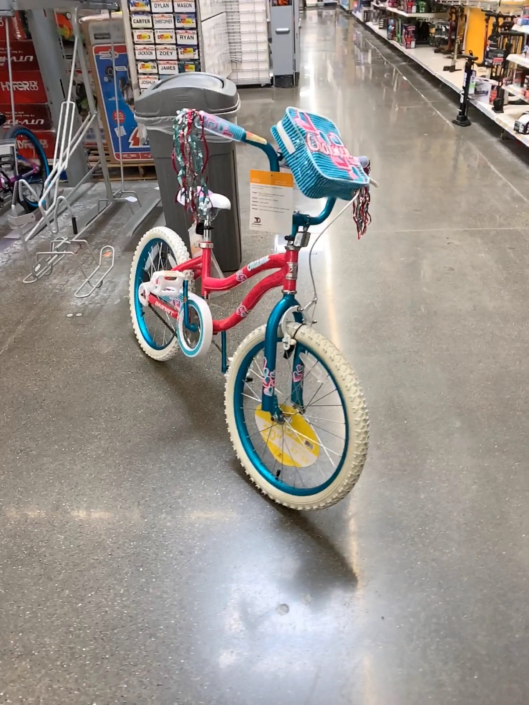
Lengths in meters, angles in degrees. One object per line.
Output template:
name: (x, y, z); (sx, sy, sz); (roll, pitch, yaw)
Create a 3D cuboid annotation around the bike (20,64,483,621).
bike: (-0.118, -0.205, 1.625); (0.654, 0.929, 1.266); (-22, 42, -28)
